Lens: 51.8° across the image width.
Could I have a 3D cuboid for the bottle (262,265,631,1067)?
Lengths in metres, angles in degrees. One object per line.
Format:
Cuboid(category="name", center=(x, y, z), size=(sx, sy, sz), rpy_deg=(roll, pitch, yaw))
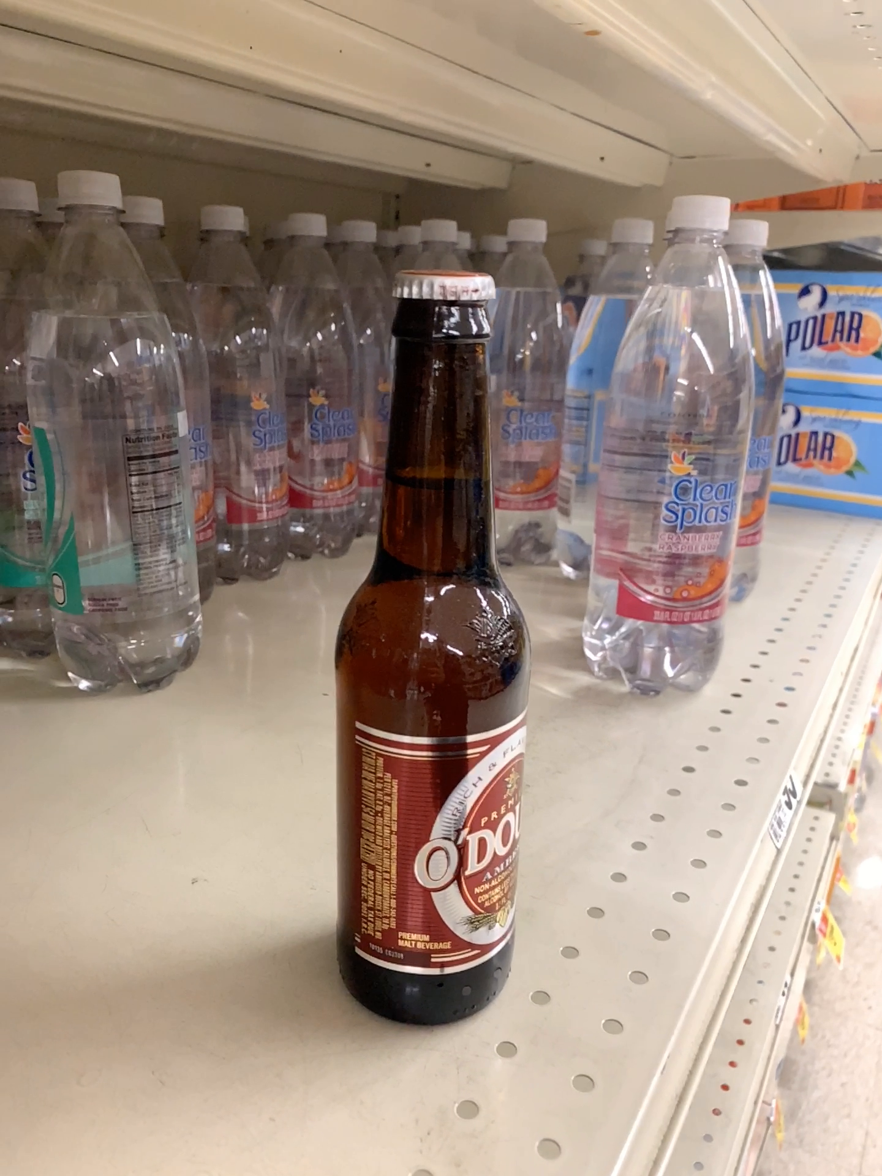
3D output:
Cuboid(category="bottle", center=(-0.002, 0.020, 0.277), size=(0.070, 0.219, 0.070), rpy_deg=(2, 19, -1))
